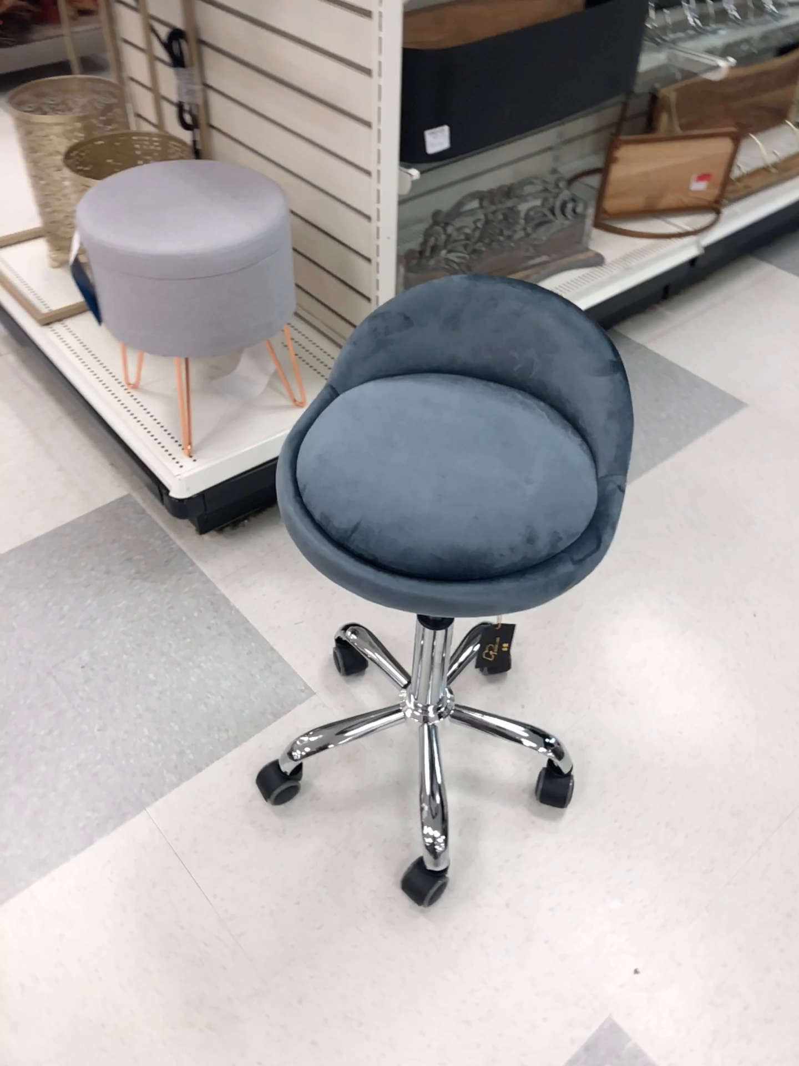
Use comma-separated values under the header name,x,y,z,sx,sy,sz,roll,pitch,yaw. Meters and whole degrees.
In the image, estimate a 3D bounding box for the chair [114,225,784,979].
name,x,y,z,sx,sy,sz,roll,pitch,yaw
chair,0.065,0.081,1.066,0.474,0.630,0.485,24,49,20
